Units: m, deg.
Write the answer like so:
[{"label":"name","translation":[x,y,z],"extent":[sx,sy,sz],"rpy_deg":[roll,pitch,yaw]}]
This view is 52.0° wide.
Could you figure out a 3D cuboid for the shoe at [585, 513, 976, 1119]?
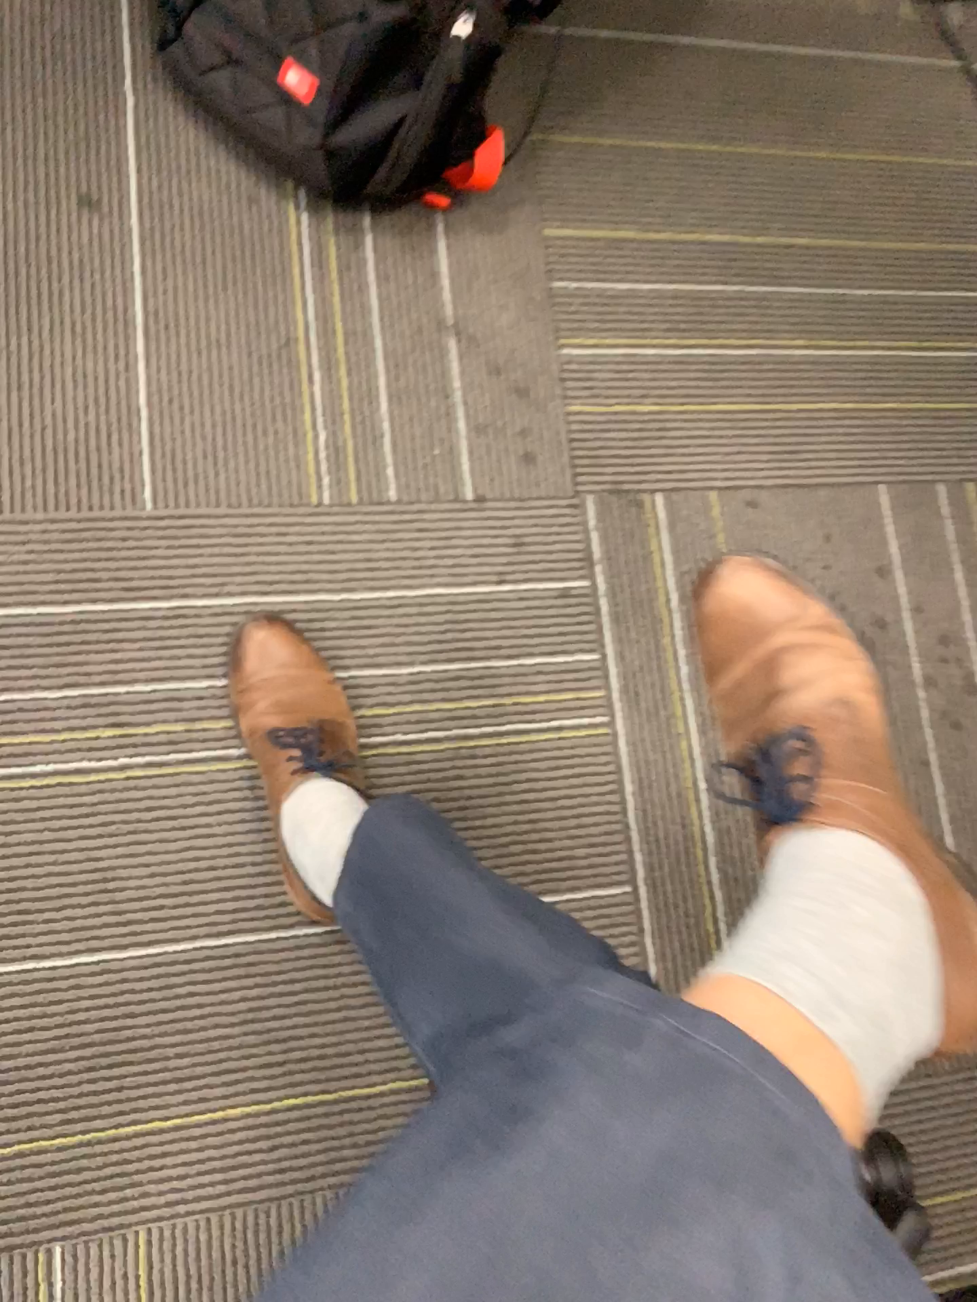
[{"label":"shoe","translation":[0.179,0.084,0.544],"extent":[0.082,0.114,0.293],"rpy_deg":[-13,73,-45]}]

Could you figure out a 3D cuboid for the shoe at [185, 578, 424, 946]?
[{"label":"shoe","translation":[-0.156,0.091,0.842],"extent":[0.112,0.068,0.276],"rpy_deg":[-18,83,-15]}]
